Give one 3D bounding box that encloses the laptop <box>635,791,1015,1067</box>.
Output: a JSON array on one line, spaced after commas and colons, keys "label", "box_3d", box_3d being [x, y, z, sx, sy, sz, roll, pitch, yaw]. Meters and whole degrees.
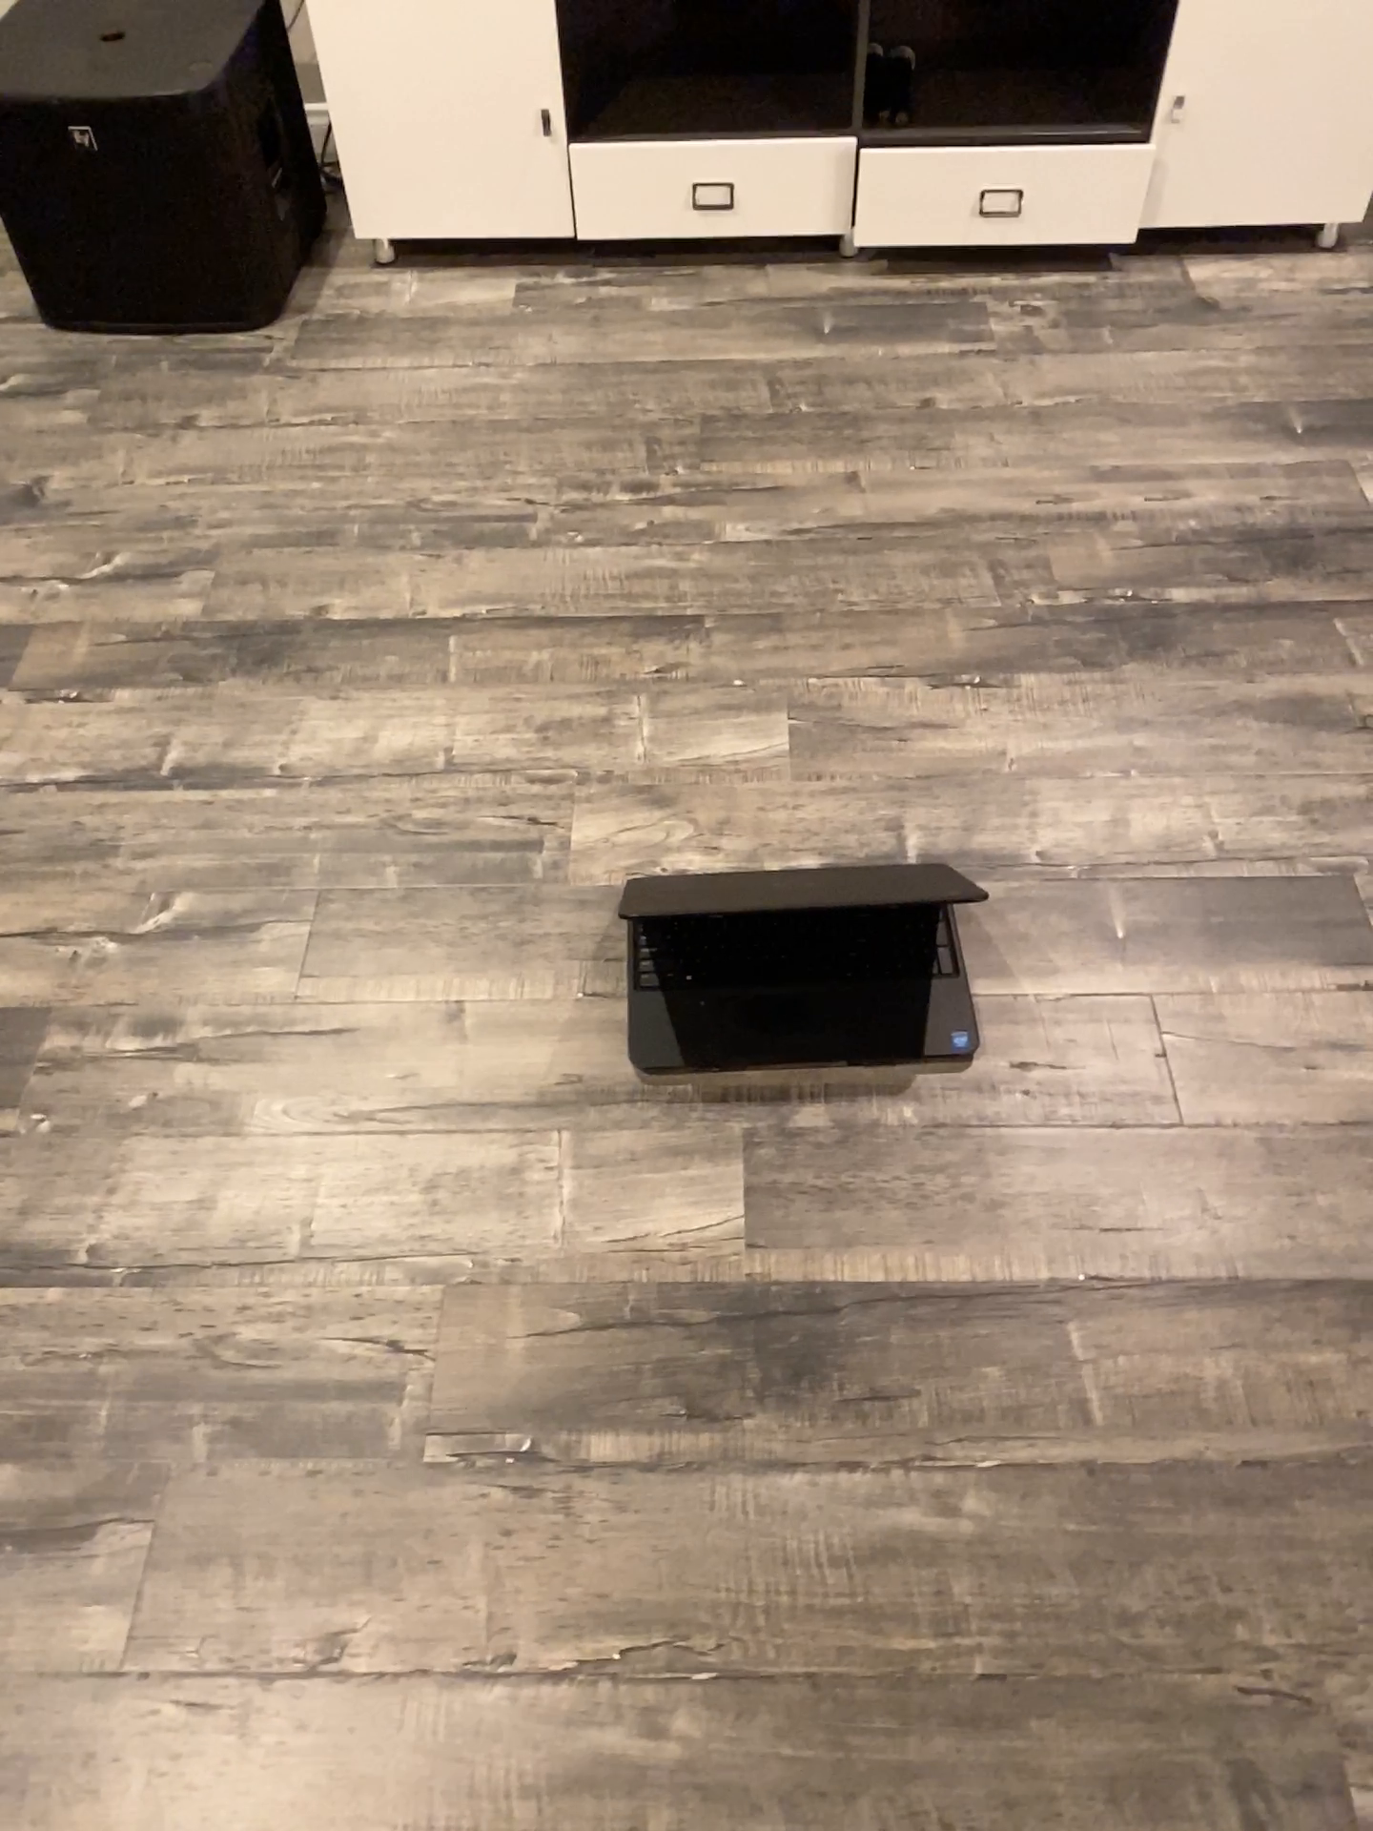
[{"label": "laptop", "box_3d": [0.130, 0.013, 1.467, 0.352, 0.170, 0.231, -2, 49, -1]}]
